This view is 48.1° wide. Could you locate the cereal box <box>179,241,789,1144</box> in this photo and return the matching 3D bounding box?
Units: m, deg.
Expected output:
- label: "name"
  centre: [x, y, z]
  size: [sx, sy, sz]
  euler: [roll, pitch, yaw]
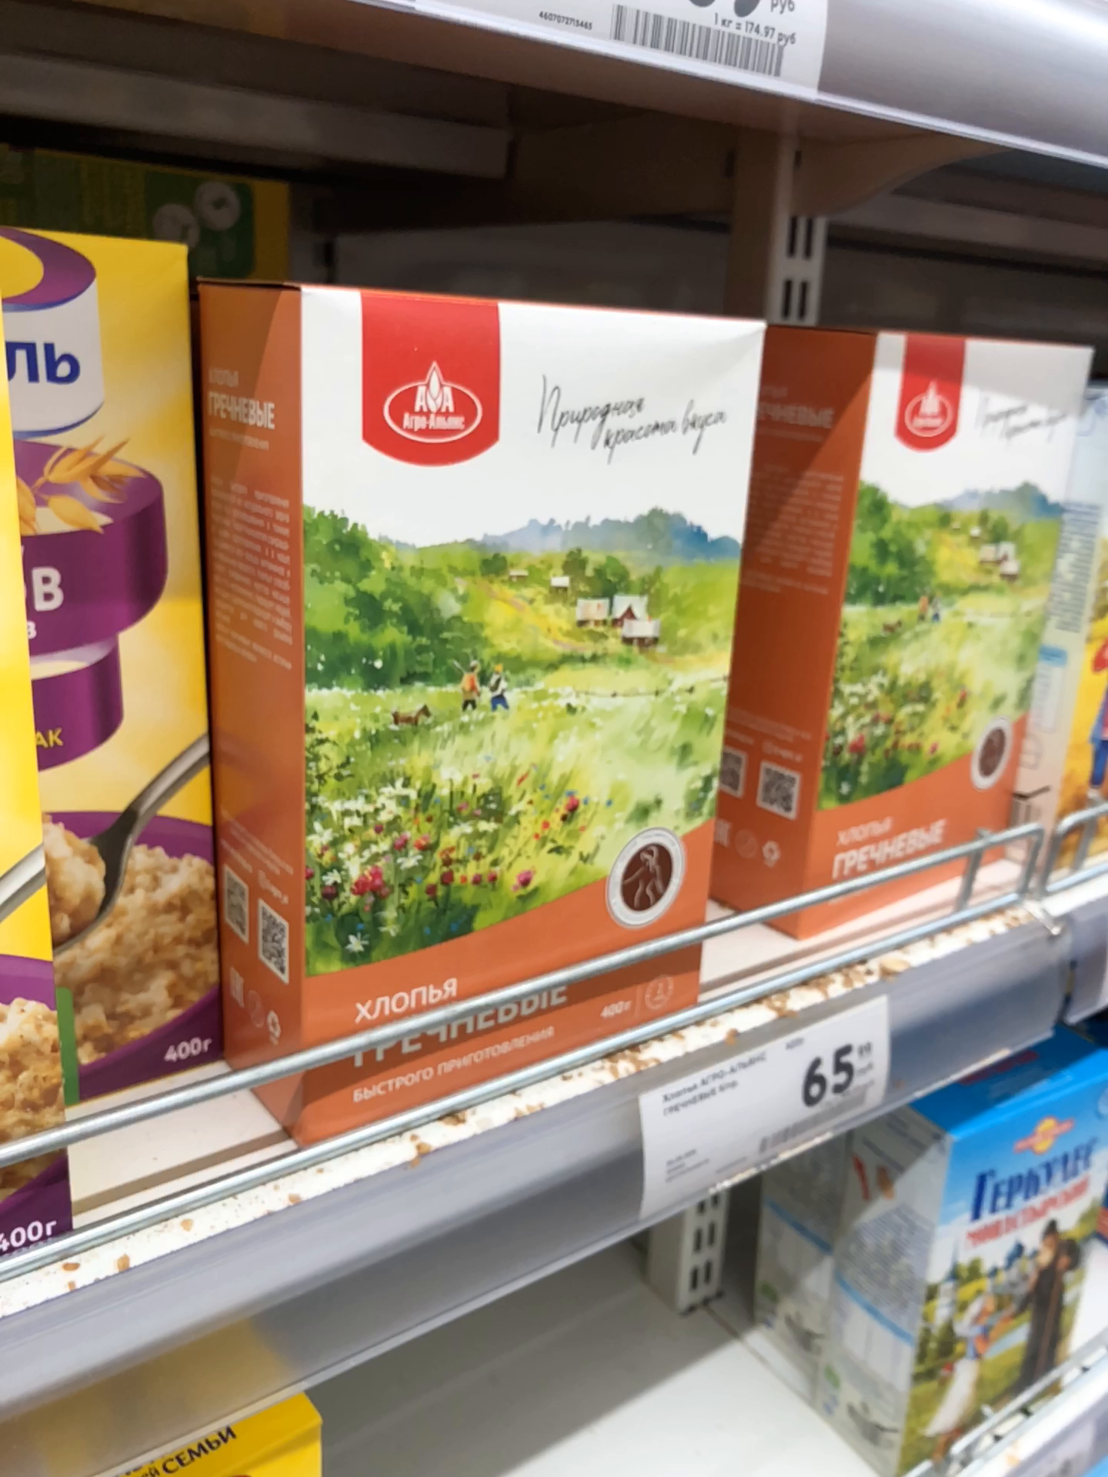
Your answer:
- label: "cereal box"
  centre: [-0.016, -0.016, 0.324]
  size: [0.140, 0.199, 0.050]
  euler: [-10, 21, -35]
